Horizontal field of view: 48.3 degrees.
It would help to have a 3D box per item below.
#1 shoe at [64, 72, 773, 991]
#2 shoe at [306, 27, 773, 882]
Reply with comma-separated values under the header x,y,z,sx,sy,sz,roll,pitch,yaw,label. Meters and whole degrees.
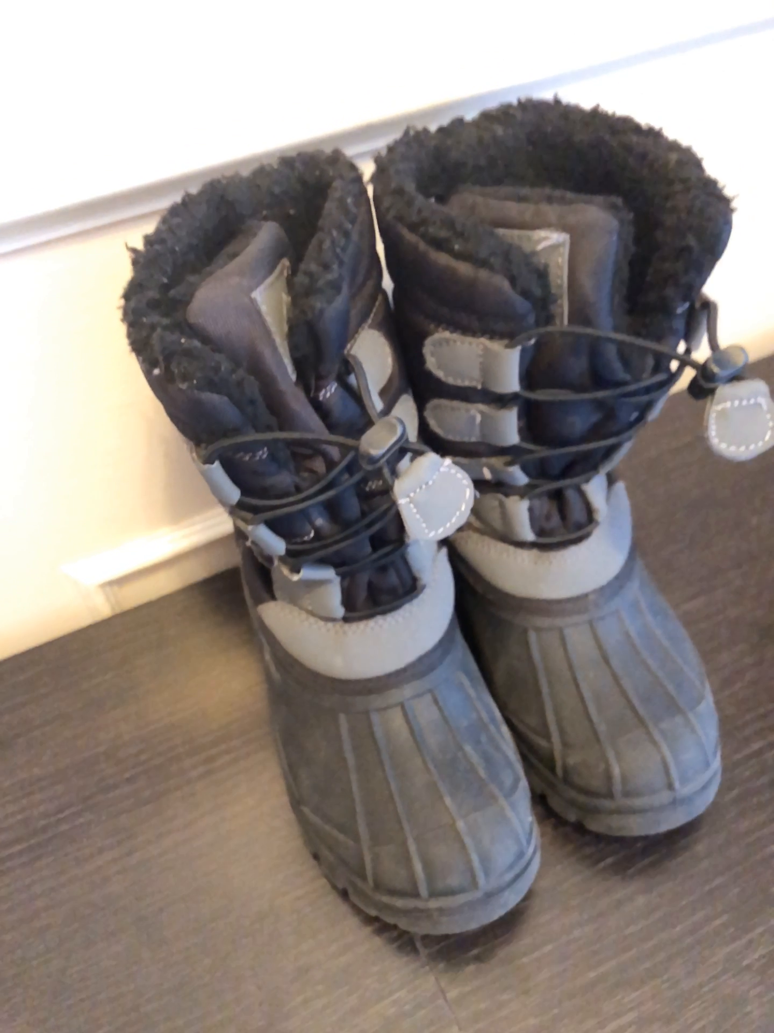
x,y,z,sx,sy,sz,roll,pitch,yaw,label
-0.010,0.002,0.301,0.100,0.209,0.221,-20,49,-14,shoe
0.067,-0.026,0.322,0.100,0.209,0.221,-20,49,-14,shoe
